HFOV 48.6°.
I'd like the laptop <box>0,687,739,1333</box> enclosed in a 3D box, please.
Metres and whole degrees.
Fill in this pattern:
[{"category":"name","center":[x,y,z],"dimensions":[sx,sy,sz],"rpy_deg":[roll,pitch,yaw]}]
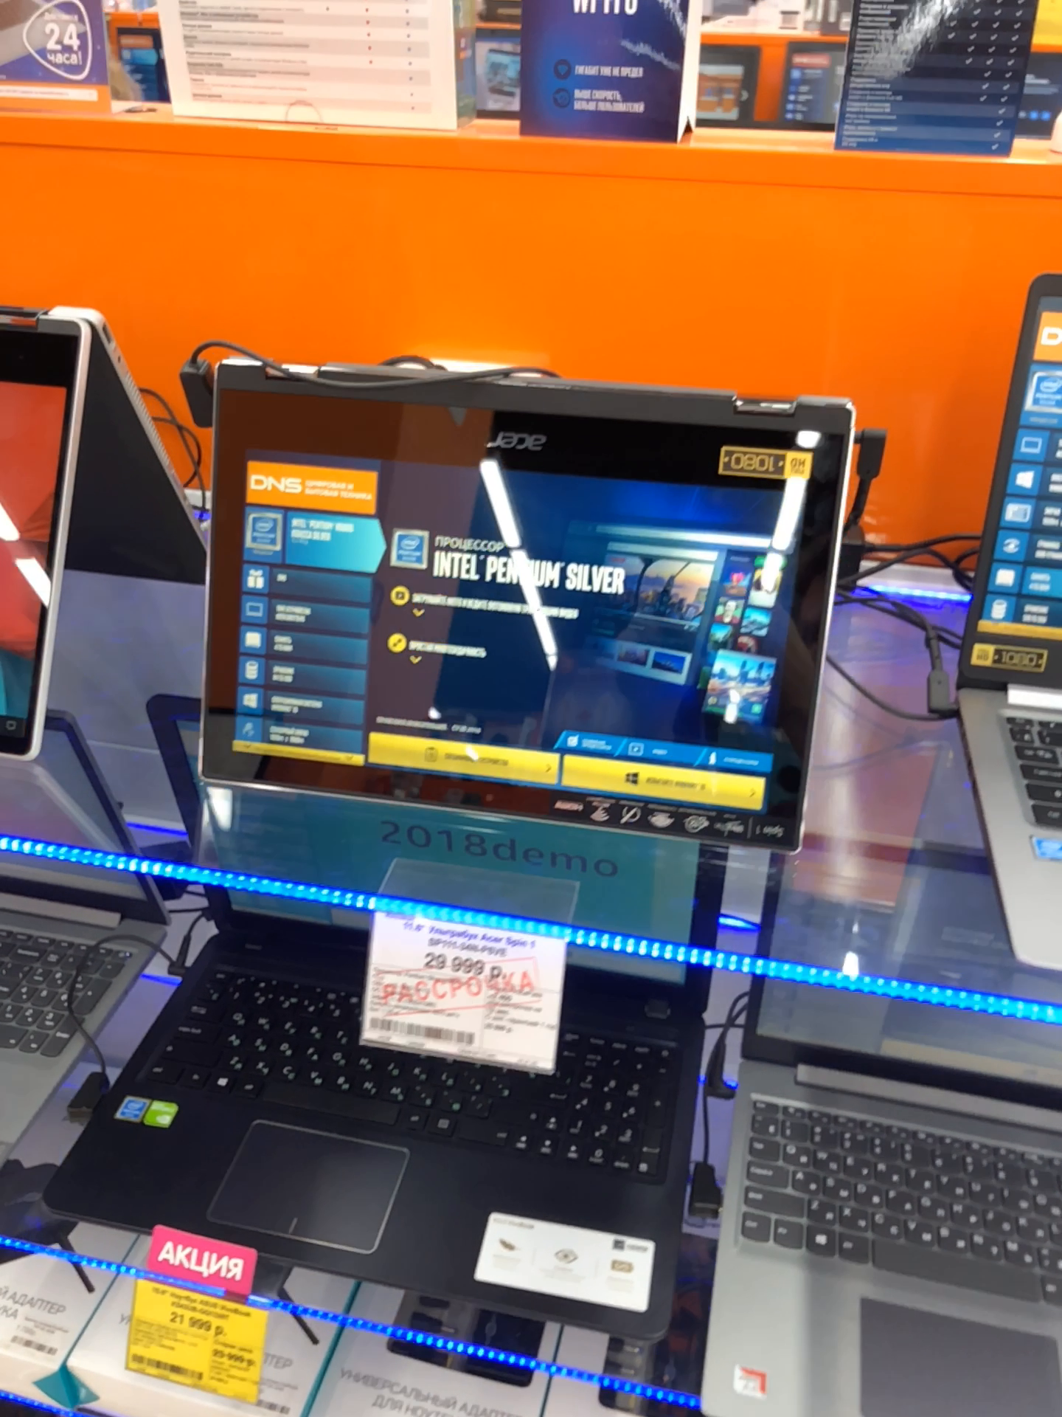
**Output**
[{"category":"laptop","center":[-0.078,0.160,0.705],"dimensions":[0.360,0.222,0.240],"rpy_deg":[8,30,9]}]

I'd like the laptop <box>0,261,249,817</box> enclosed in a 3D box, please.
[{"category":"laptop","center":[-0.359,-0.079,0.734],"dimensions":[0.299,0.149,0.182],"rpy_deg":[7,-5,8]}]

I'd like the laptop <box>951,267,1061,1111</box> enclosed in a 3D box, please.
[{"category":"laptop","center":[0.400,-0.038,0.502],"dimensions":[0.350,0.209,0.273],"rpy_deg":[7,32,7]}]

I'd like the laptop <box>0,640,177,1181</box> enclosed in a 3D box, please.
[{"category":"laptop","center":[-0.476,0.118,0.774],"dimensions":[0.363,0.202,0.223],"rpy_deg":[7,34,11]}]

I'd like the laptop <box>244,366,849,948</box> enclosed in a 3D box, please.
[{"category":"laptop","center":[0.004,-0.005,0.651],"dimensions":[0.277,0.142,0.181],"rpy_deg":[8,-7,13]}]
